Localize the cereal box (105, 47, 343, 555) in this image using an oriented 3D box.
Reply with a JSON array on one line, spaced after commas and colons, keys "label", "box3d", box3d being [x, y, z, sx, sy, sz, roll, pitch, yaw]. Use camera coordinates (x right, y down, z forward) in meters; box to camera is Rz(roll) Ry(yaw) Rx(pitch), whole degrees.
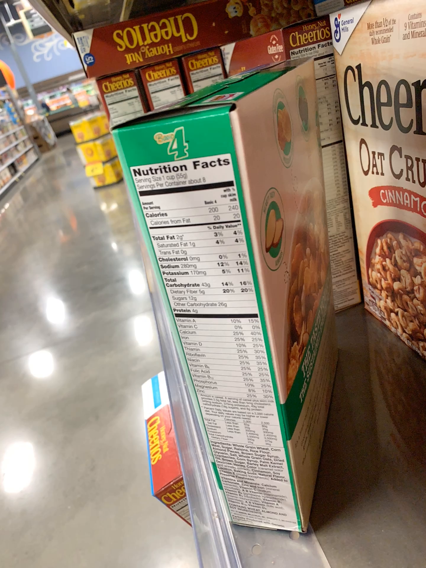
[{"label": "cereal box", "box3d": [0.042, -0.001, 0.295, 0.050, 0.259, 0.201, -1, 30, 23]}]
